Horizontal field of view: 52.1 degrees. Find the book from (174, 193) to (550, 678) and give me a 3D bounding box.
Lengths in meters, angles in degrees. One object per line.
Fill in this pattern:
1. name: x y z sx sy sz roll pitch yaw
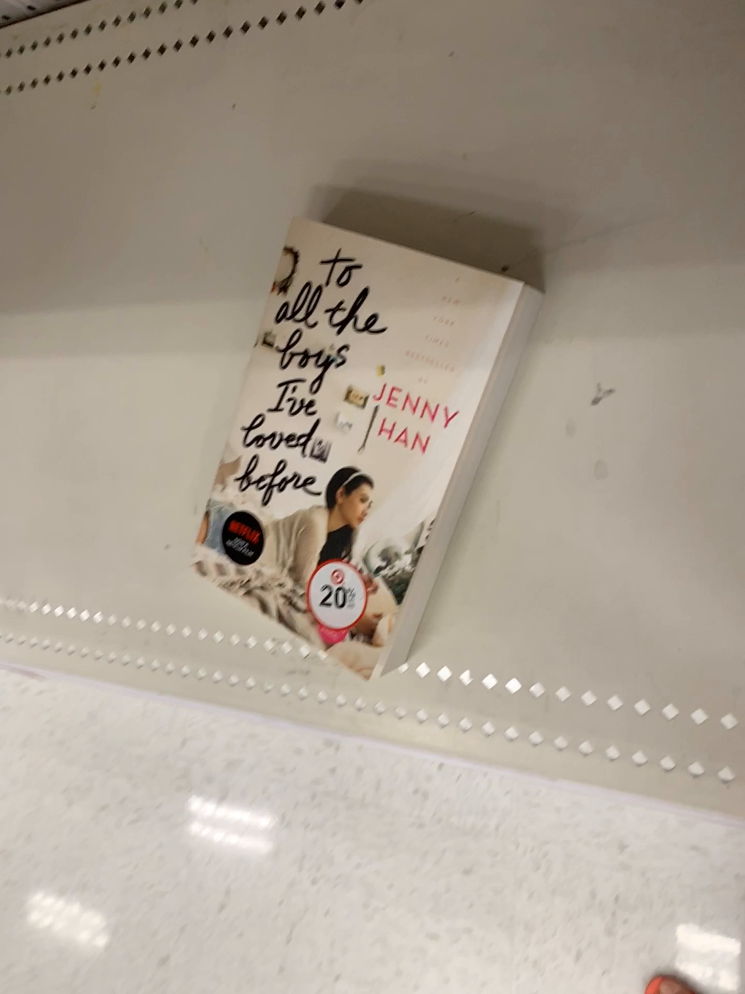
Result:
1. book: -0.015 -0.034 0.409 0.144 0.034 0.213 24 104 23
